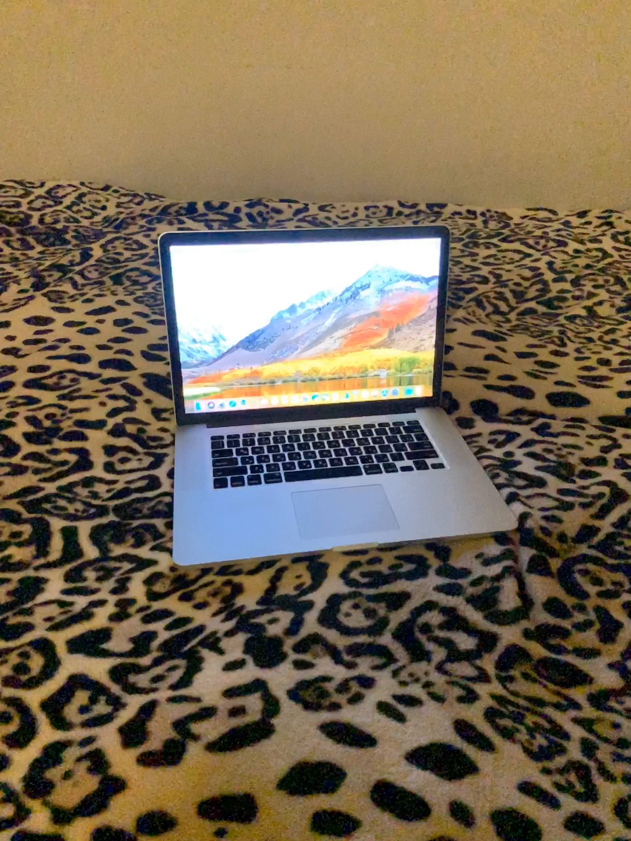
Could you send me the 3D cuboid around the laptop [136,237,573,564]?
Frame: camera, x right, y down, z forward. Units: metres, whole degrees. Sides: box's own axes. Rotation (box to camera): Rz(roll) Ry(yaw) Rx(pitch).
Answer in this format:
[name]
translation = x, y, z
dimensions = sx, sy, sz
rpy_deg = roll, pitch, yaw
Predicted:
[laptop]
translation = 0.010, -0.042, 0.694
dimensions = 0.348, 0.222, 0.301
rpy_deg = -5, 35, -9
